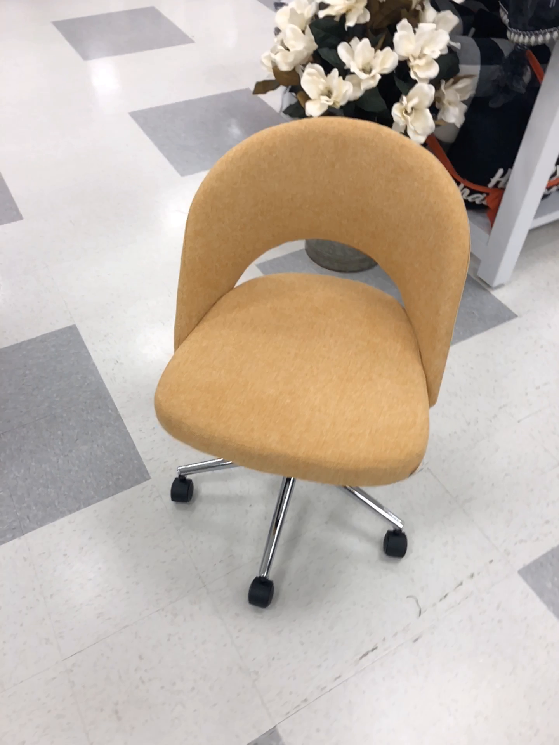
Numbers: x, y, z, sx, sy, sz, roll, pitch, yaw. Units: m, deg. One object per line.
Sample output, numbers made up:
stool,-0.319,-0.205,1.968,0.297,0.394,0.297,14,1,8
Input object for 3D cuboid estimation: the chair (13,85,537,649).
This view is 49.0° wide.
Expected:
chair,0.036,0.003,1.154,0.581,0.749,0.638,10,48,7
